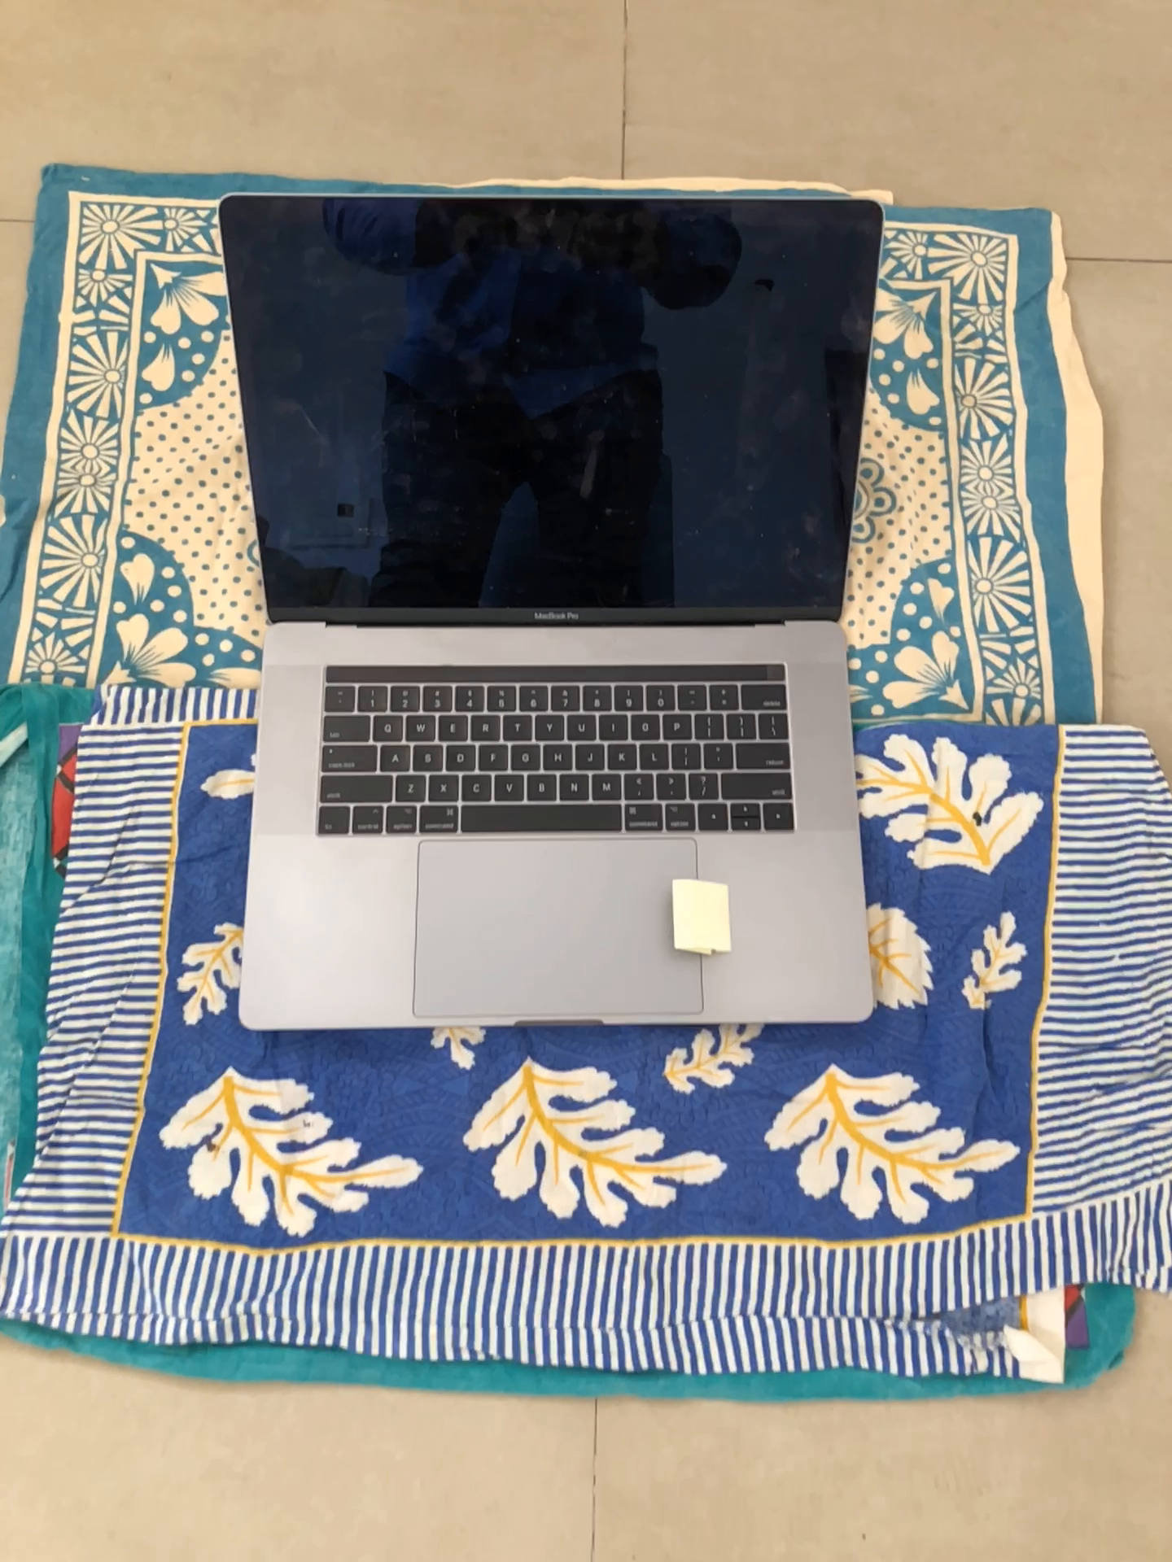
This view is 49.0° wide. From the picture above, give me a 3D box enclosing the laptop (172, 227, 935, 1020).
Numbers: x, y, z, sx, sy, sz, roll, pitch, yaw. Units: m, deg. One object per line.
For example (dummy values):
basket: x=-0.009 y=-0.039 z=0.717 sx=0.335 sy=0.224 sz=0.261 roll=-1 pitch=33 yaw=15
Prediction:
laptop: x=-0.016 y=-0.080 z=0.685 sx=0.336 sy=0.132 sz=0.401 roll=0 pitch=75 yaw=-2
